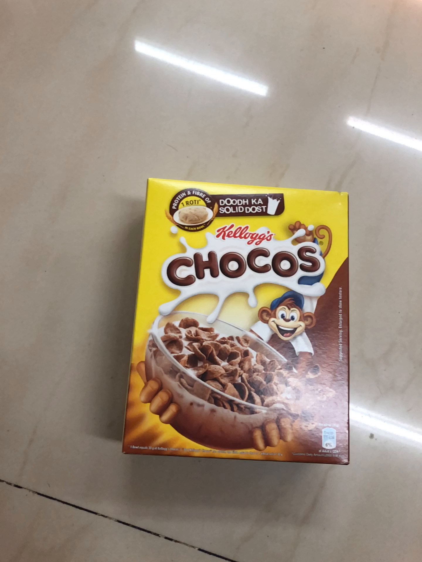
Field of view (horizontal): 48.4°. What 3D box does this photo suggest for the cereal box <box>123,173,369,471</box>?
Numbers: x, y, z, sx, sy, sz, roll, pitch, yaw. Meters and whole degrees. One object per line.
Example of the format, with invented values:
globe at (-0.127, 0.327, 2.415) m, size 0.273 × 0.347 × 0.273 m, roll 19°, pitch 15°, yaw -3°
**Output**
cereal box at (0.024, 0.025, 0.309) m, size 0.140 × 0.050 × 0.170 m, roll 5°, pitch 80°, yaw -3°
